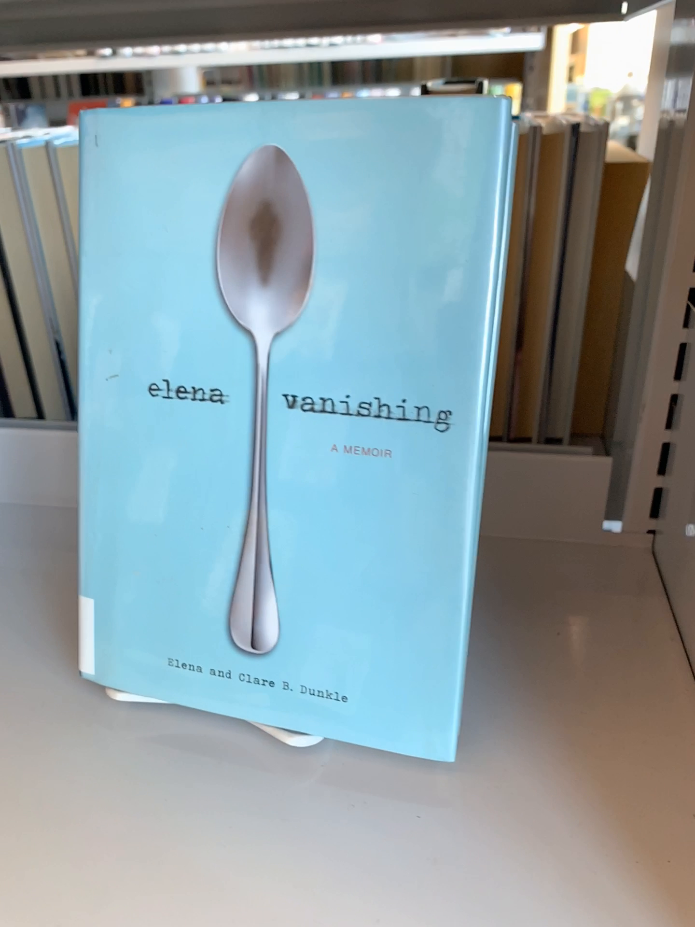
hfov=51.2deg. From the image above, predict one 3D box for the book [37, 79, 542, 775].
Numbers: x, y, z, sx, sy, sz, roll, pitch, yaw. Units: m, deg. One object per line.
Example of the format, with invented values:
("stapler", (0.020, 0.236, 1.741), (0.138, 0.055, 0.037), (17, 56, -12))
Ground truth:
("book", (-0.026, -0.013, 0.249), (0.159, 0.203, 0.035), (6, 11, 16))
